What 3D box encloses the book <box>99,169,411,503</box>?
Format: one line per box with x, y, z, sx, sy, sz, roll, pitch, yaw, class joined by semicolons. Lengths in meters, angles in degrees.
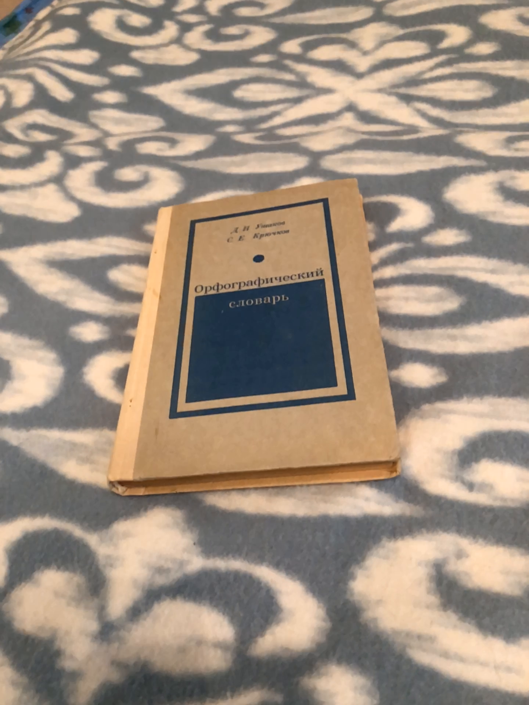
-0.004;-0.023;0.328;0.136;0.022;0.211;-6;50;8;book
